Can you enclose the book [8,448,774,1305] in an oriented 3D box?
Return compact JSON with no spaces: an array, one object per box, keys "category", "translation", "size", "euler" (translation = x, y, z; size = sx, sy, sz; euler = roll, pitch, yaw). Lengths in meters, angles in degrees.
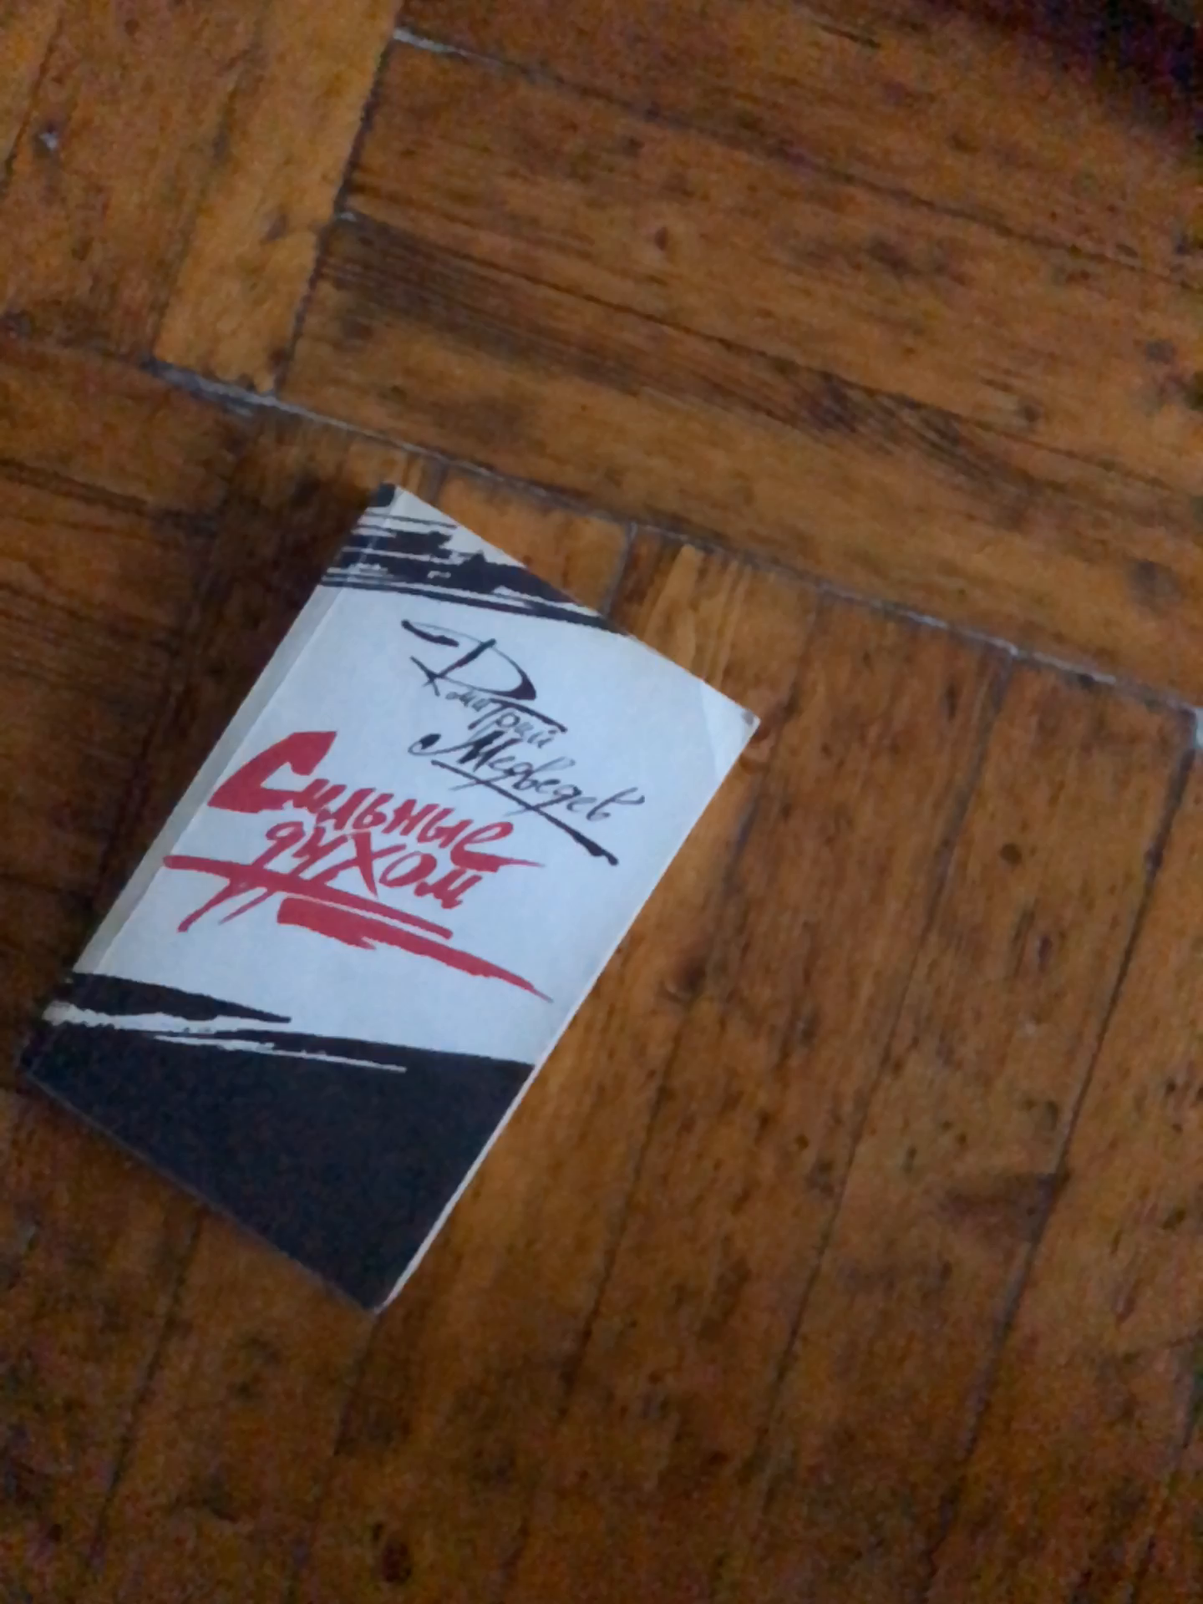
[{"category":"book","translation":[-0.061,0.022,0.419],"size":[0.140,0.050,0.210],"euler":[29,88,1]}]
